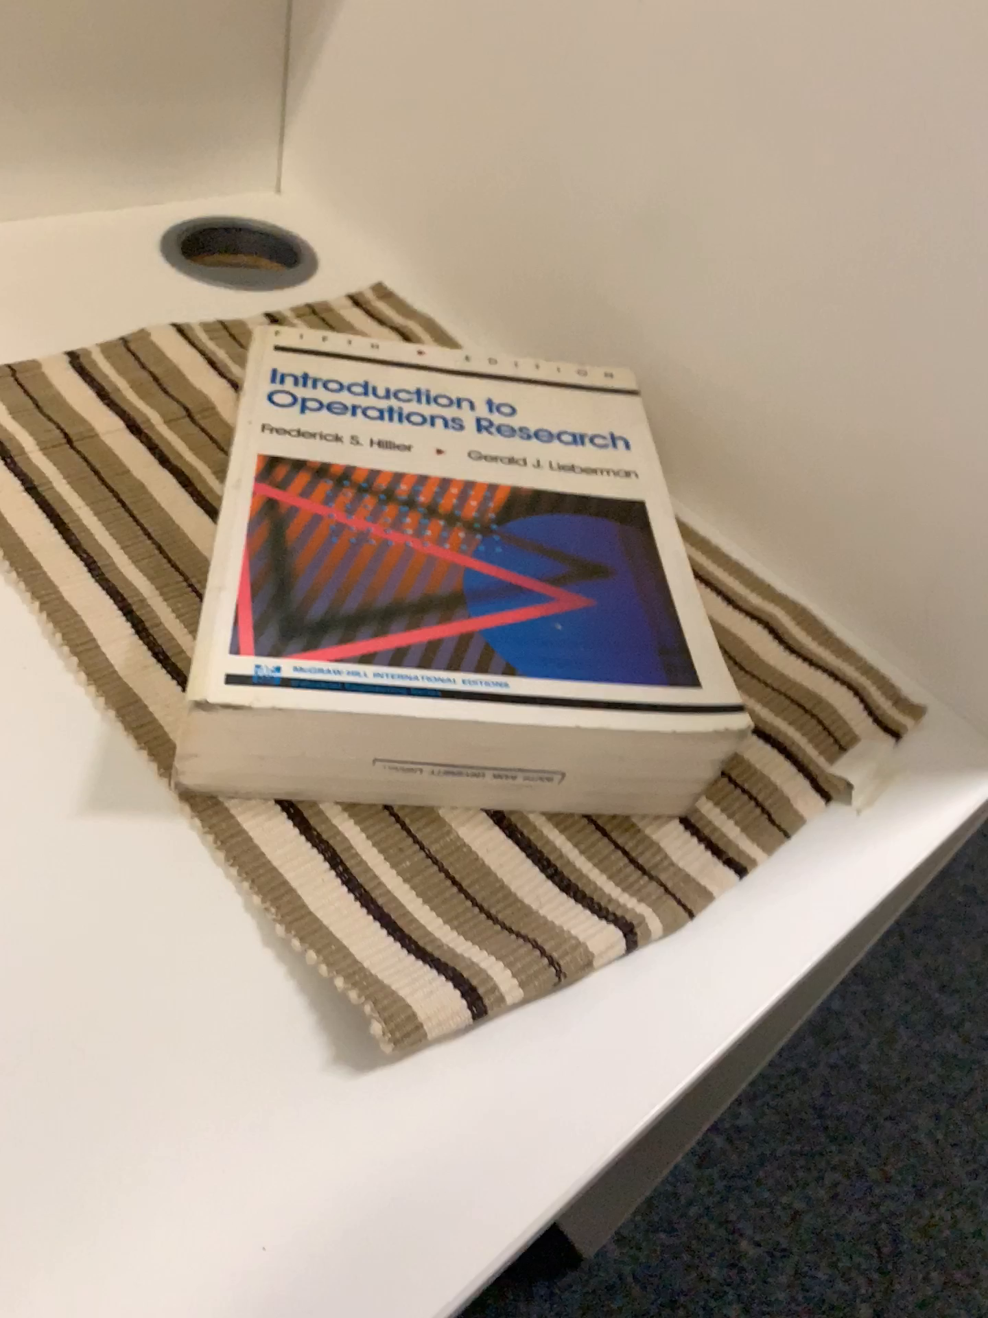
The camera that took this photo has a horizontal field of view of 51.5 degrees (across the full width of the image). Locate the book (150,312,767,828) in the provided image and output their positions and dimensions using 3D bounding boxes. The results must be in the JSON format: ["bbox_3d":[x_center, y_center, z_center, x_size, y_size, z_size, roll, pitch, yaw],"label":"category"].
[{"bbox_3d":[-0.019,-0.048,0.421,0.196,0.052,0.236,5,44,-11],"label":"book"}]
